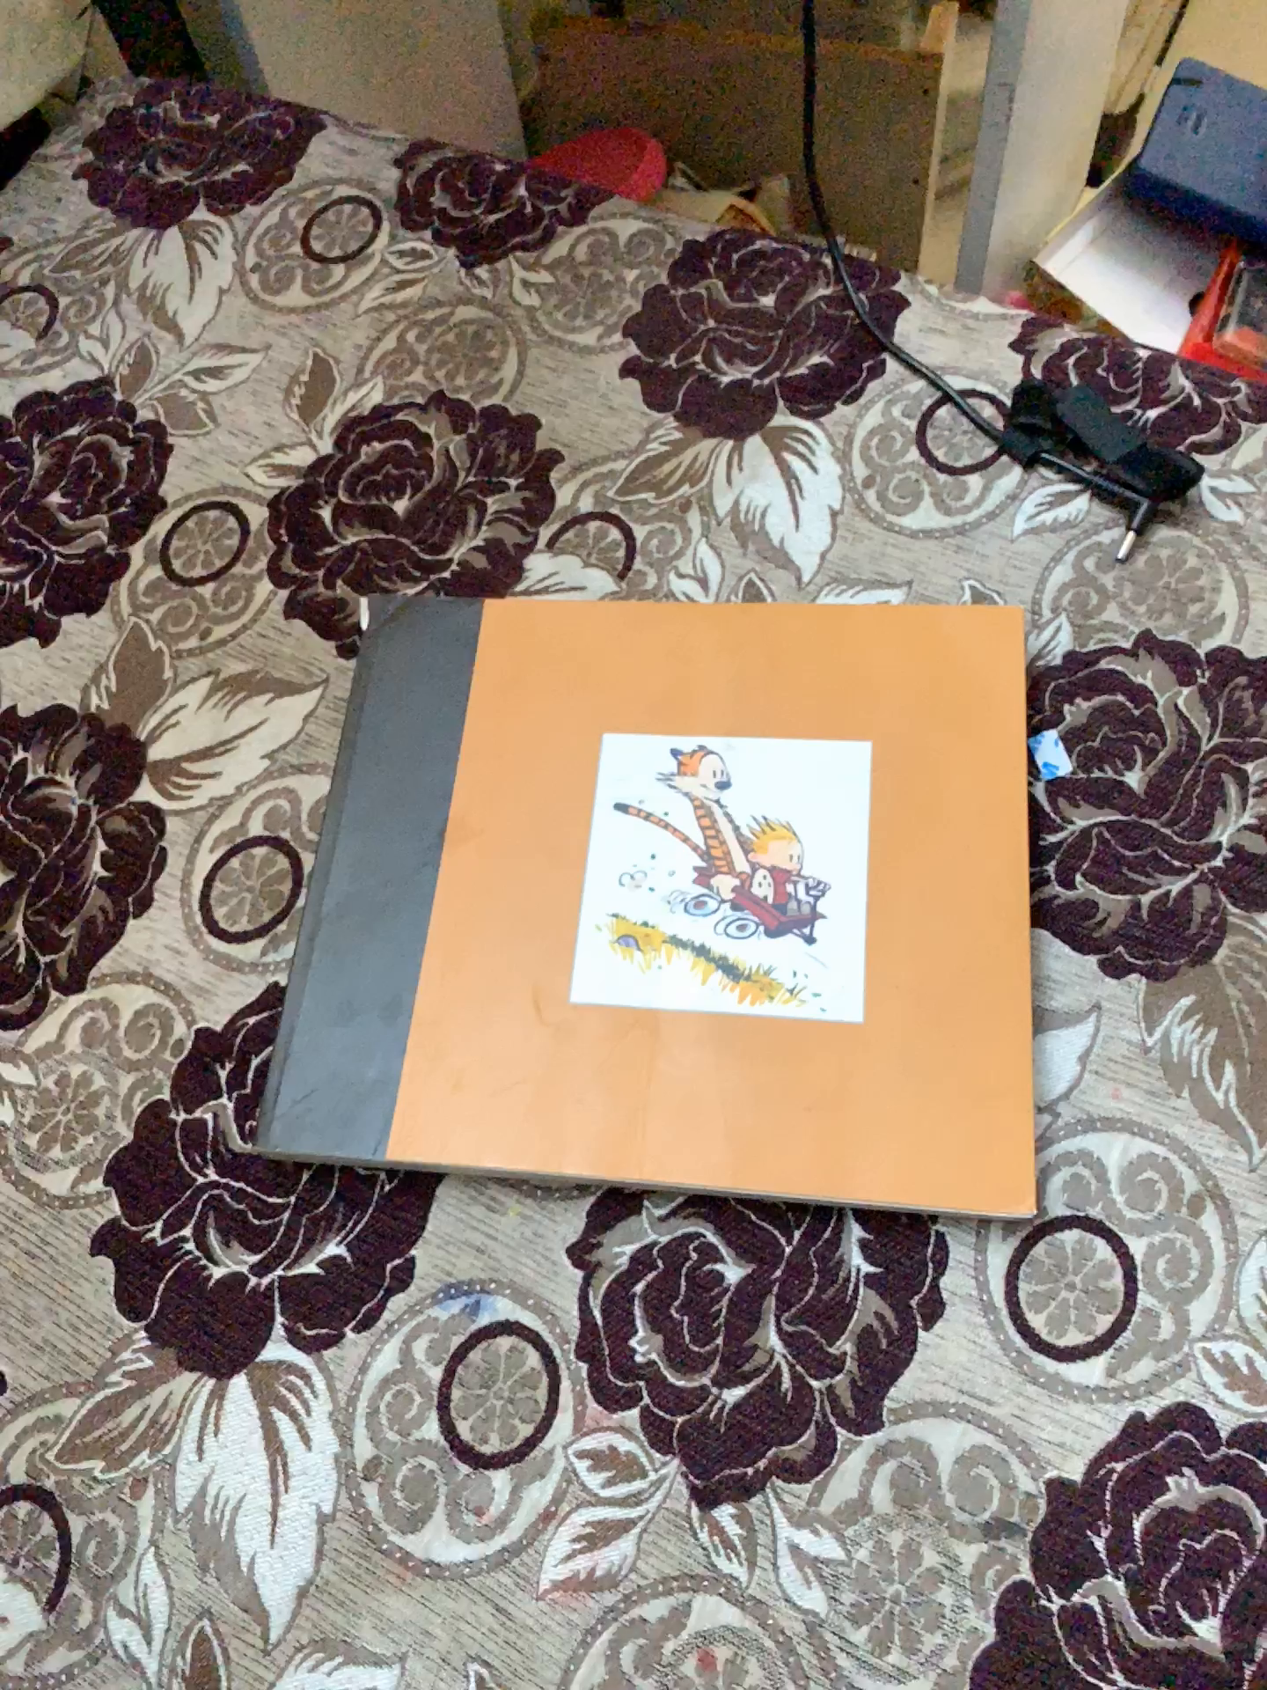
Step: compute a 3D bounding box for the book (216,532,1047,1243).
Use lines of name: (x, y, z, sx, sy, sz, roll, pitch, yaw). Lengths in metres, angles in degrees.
book: (0.008, 0.000, 0.491, 0.270, 0.040, 0.261, 2, 65, 9)
